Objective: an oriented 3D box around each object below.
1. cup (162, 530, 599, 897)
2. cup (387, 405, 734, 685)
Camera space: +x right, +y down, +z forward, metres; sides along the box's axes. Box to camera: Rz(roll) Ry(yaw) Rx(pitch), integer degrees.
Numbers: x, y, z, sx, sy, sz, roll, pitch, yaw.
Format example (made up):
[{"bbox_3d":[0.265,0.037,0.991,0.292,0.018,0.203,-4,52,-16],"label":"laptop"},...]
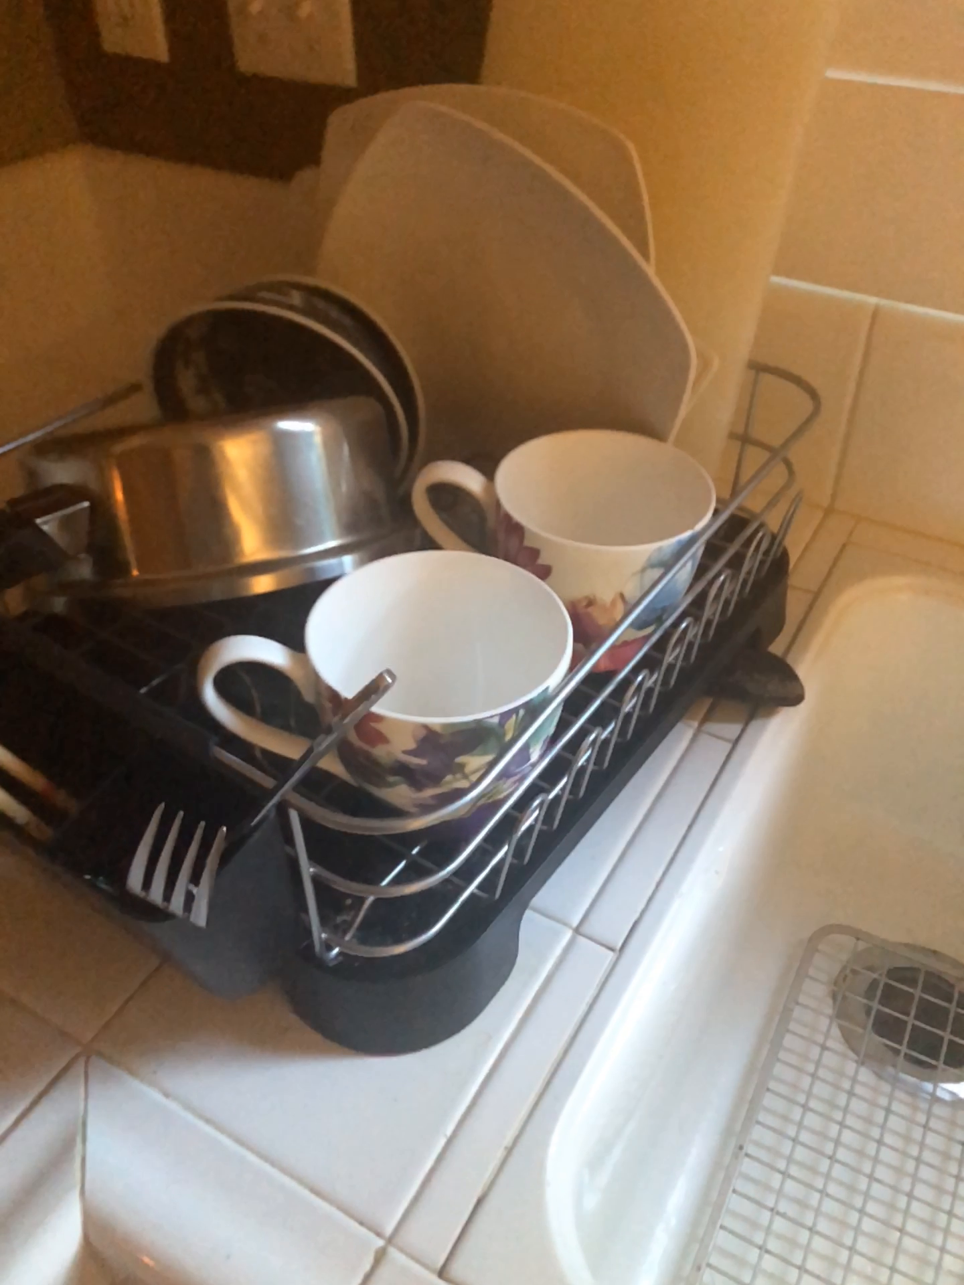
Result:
[{"bbox_3d":[-0.043,0.027,0.462,0.160,0.089,0.111,-6,40,-6],"label":"cup"},{"bbox_3d":[0.043,-0.054,0.565,0.160,0.089,0.111,4,40,6],"label":"cup"}]
